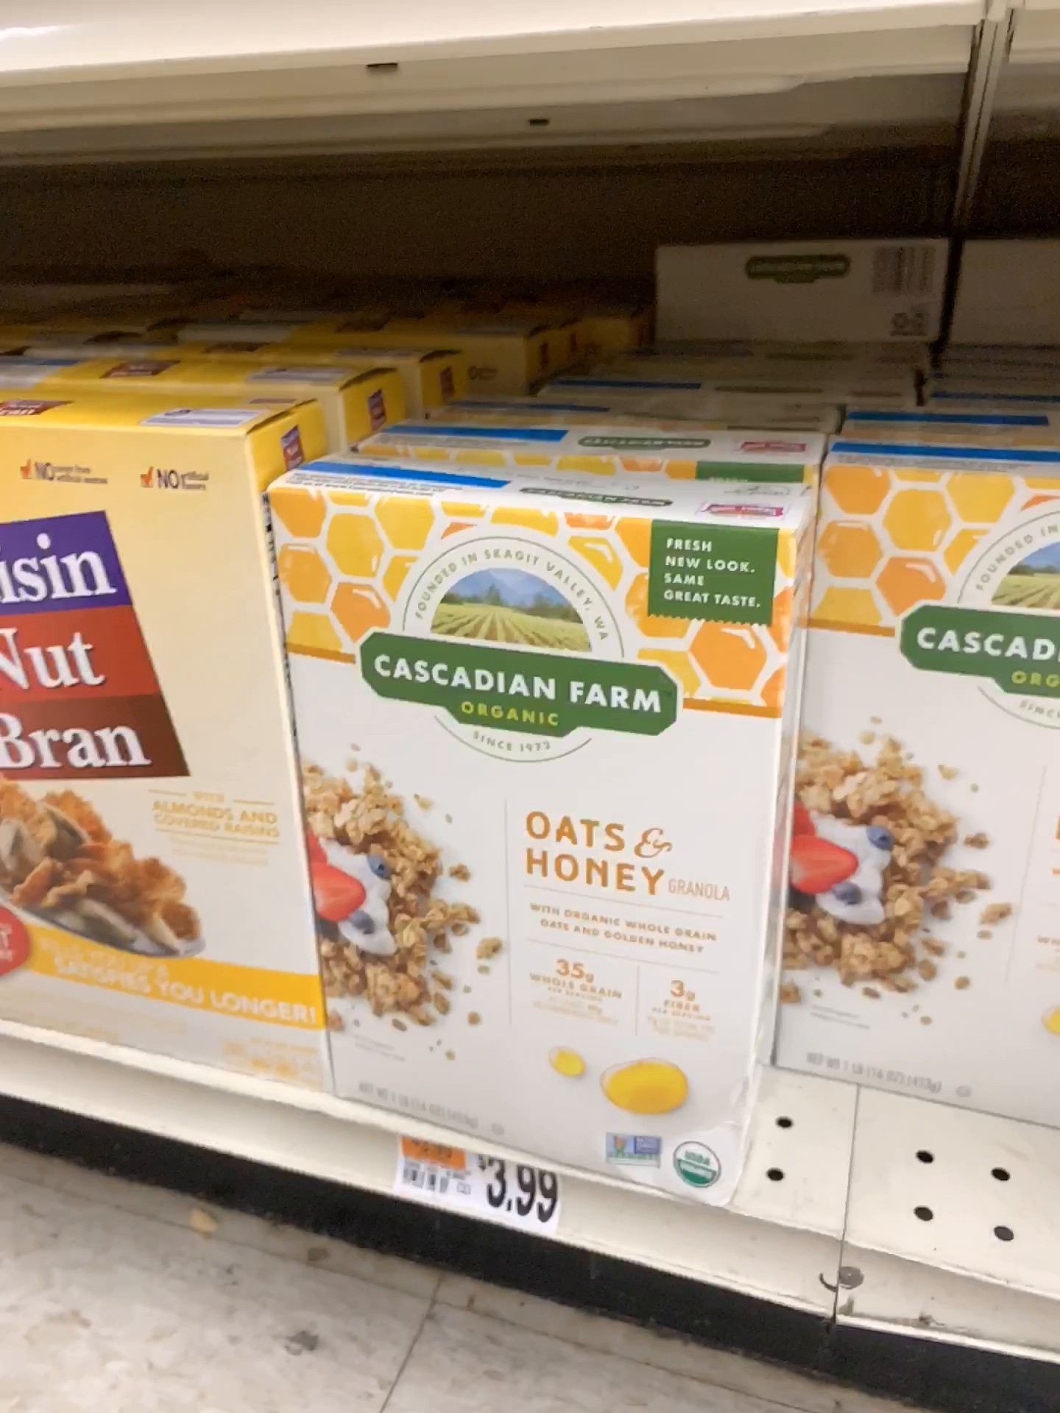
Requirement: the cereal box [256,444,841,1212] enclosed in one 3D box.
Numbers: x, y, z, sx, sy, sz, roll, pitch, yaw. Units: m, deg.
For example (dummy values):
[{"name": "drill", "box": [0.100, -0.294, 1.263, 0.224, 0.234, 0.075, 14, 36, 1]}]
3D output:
[{"name": "cereal box", "box": [0.007, 0.038, 0.367, 0.160, 0.229, 0.060, 8, 26, 20]}]
